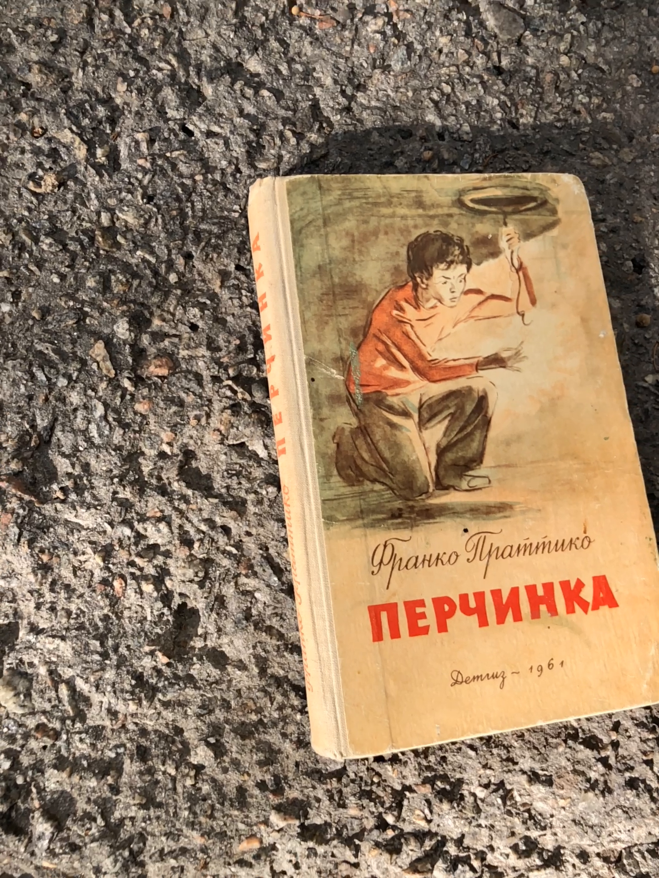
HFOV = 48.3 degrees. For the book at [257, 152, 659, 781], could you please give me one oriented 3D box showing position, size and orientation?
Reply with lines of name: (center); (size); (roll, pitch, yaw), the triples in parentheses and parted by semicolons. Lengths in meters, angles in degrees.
book: (0.051, 0.000, 0.264); (0.132, 0.030, 0.203); (-4, 80, -14)
